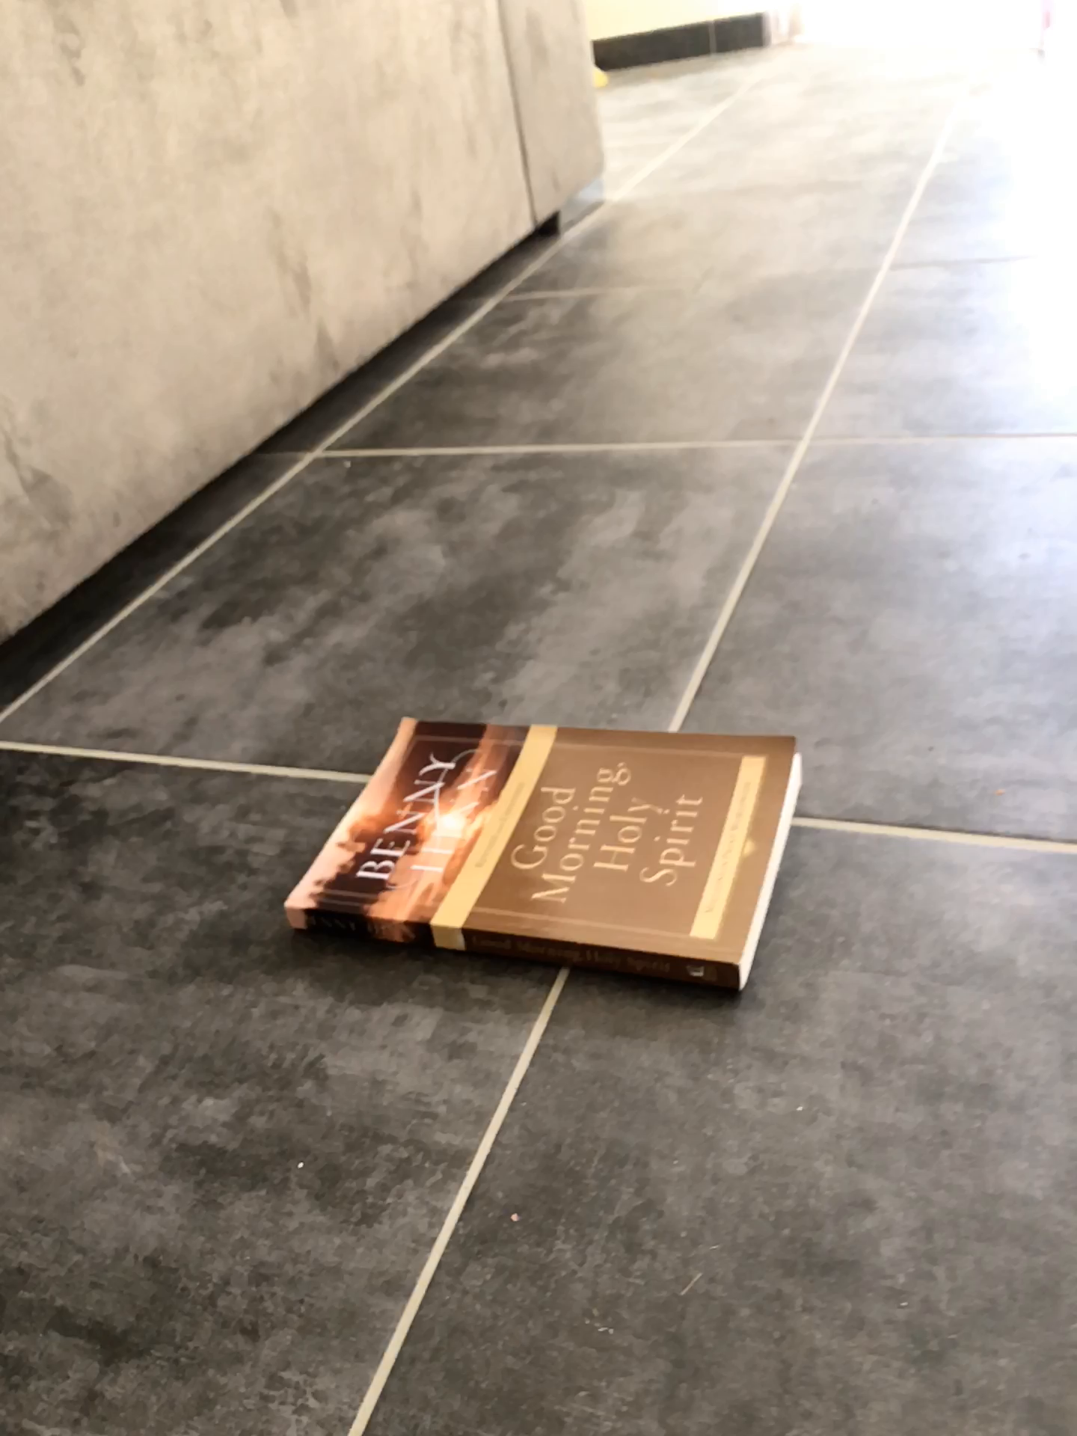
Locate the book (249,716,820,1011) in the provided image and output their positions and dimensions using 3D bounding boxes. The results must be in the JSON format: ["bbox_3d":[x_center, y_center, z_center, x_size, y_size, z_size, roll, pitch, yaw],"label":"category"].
[{"bbox_3d":[0.003,0.056,0.558,0.230,0.020,0.151,3,36,21],"label":"book"}]
